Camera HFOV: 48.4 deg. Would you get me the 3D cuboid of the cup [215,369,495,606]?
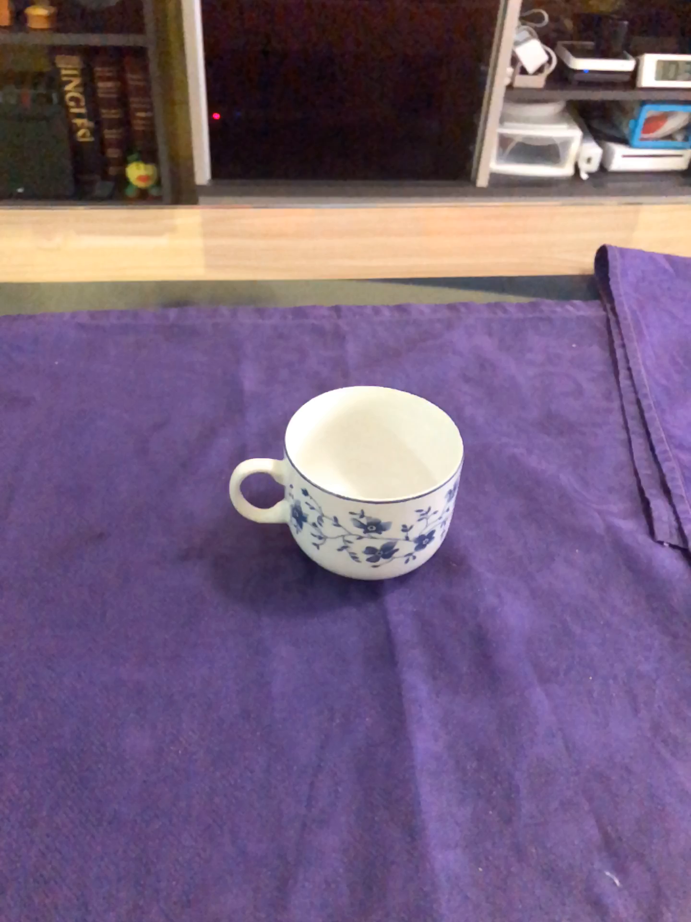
[{"bbox_3d":[-0.001,0.009,0.324,0.100,0.060,0.070,-4,43,-9],"label":"cup"}]
